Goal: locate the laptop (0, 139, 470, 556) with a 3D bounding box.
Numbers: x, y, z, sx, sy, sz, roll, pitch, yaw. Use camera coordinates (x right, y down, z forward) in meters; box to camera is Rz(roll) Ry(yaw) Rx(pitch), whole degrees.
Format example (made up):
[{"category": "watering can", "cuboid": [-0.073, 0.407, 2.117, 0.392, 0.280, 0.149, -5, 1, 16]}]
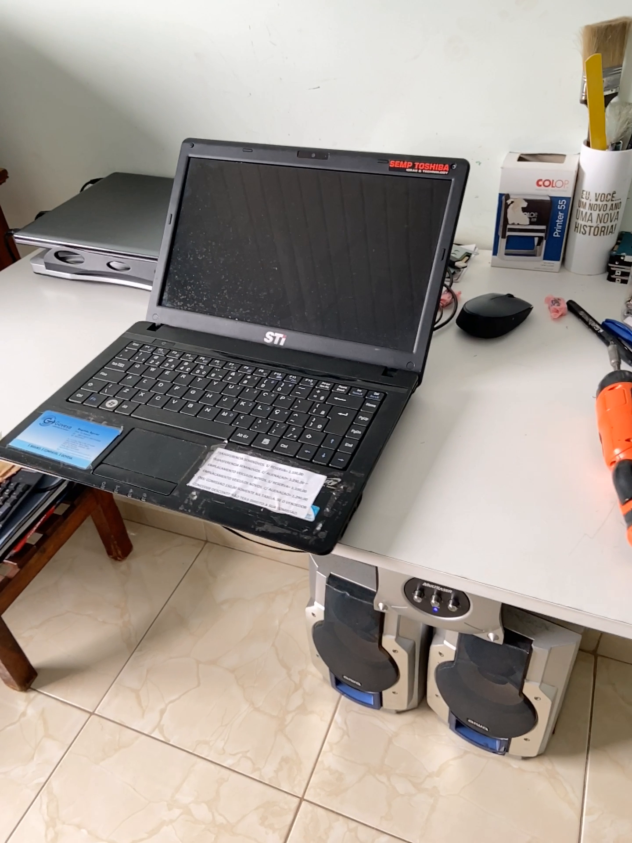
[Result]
[{"category": "laptop", "cuboid": [-0.073, -0.116, 0.617, 0.335, 0.159, 0.386, 13, 43, 21]}]
